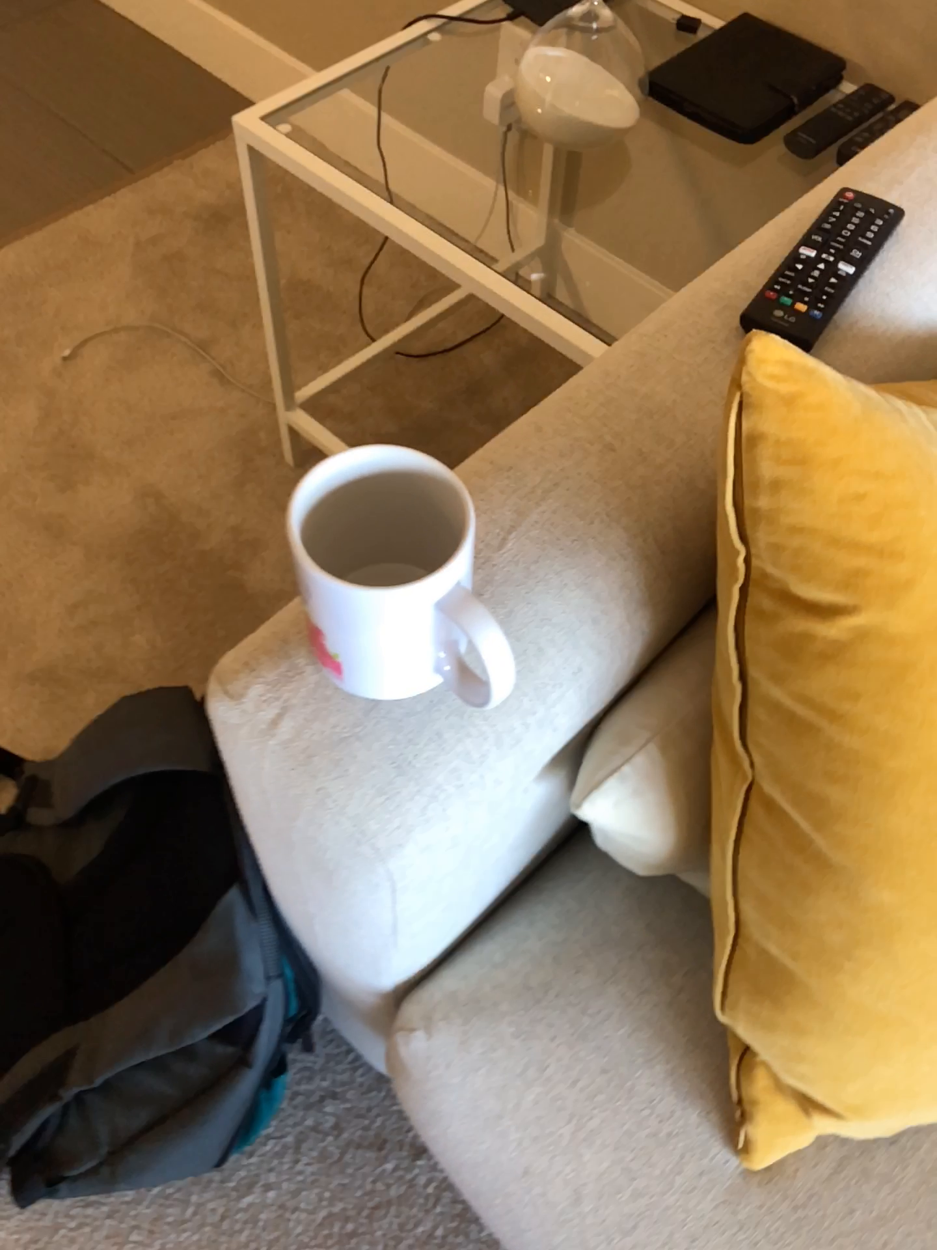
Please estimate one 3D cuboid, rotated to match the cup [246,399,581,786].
[{"bbox_3d":[-0.026,-0.014,0.471,0.080,0.100,0.120,-35,65,-23],"label":"cup"}]
